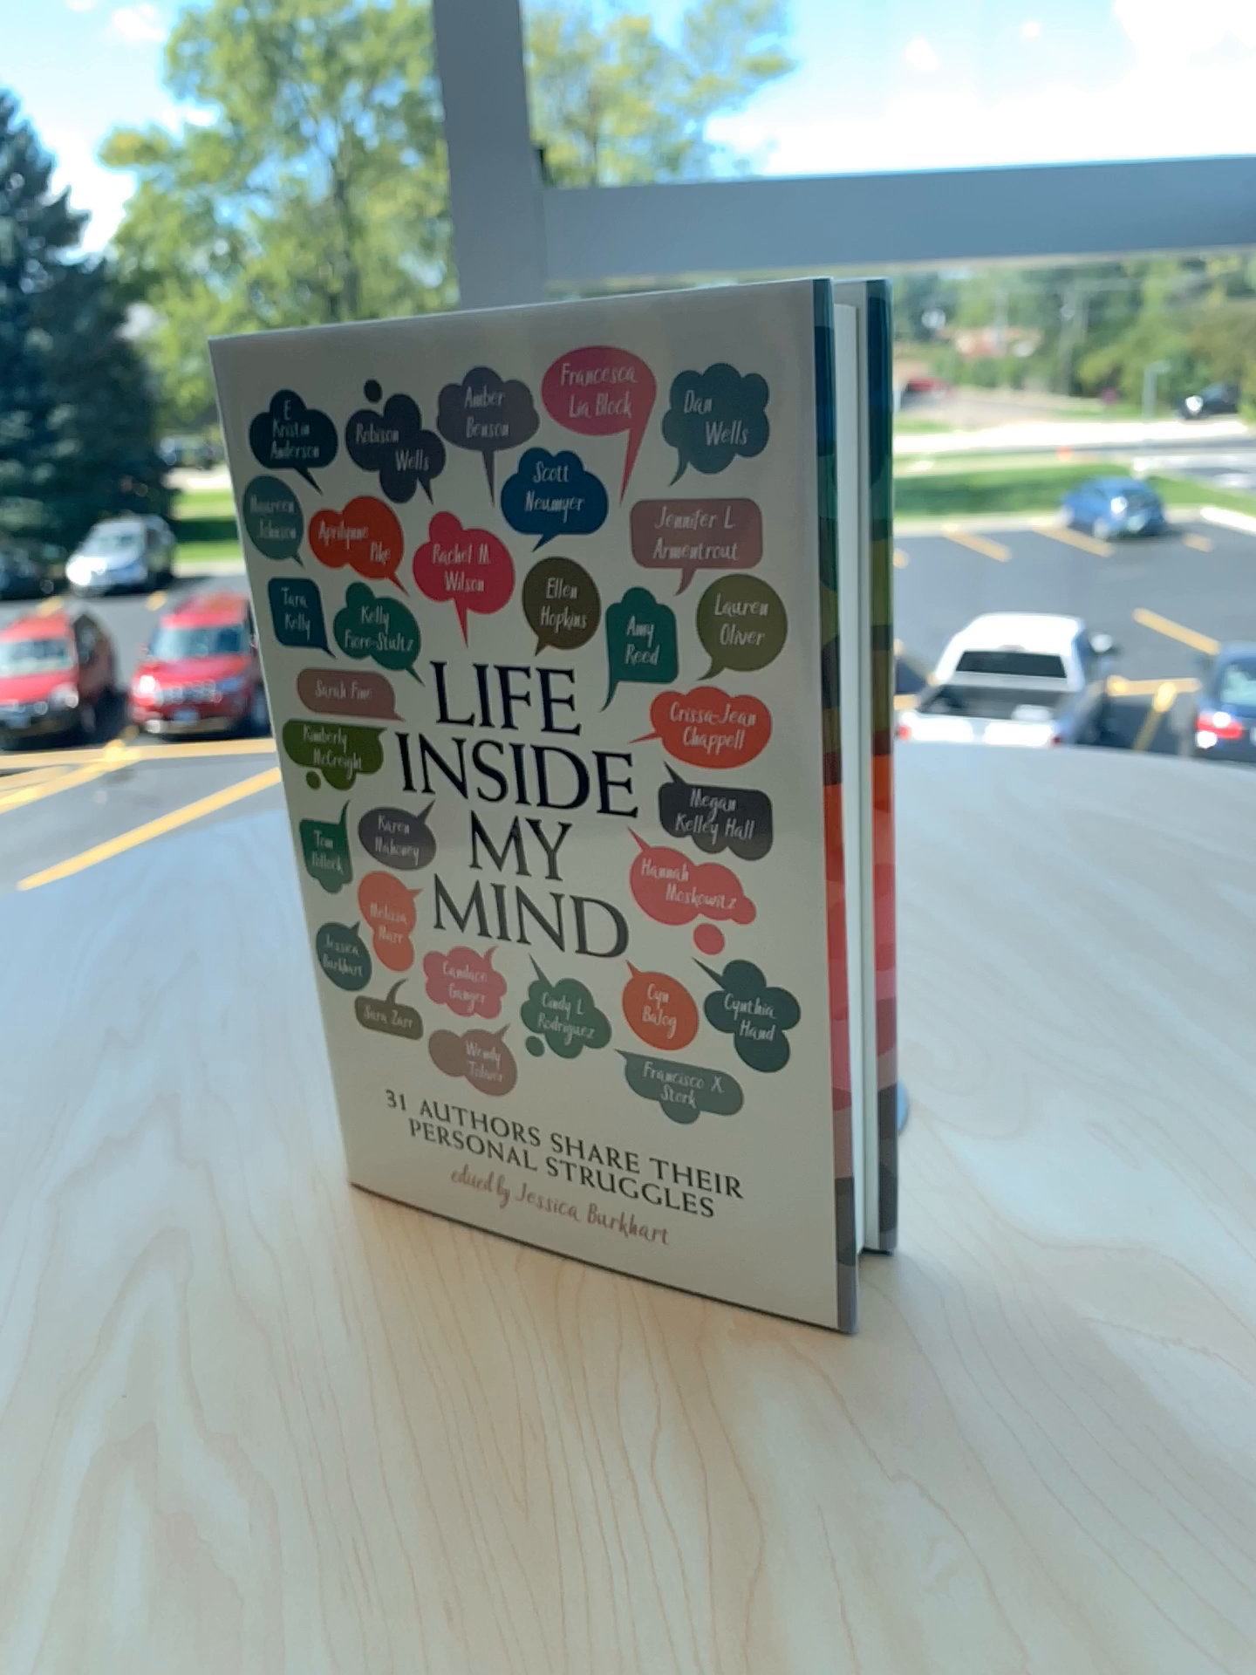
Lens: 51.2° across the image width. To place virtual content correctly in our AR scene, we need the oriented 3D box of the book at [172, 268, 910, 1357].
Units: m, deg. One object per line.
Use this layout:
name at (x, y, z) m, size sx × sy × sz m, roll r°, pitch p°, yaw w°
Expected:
book at (-0.015, -0.002, 0.293) m, size 0.150 × 0.218 × 0.030 m, roll 7°, pitch 24°, yaw 27°
